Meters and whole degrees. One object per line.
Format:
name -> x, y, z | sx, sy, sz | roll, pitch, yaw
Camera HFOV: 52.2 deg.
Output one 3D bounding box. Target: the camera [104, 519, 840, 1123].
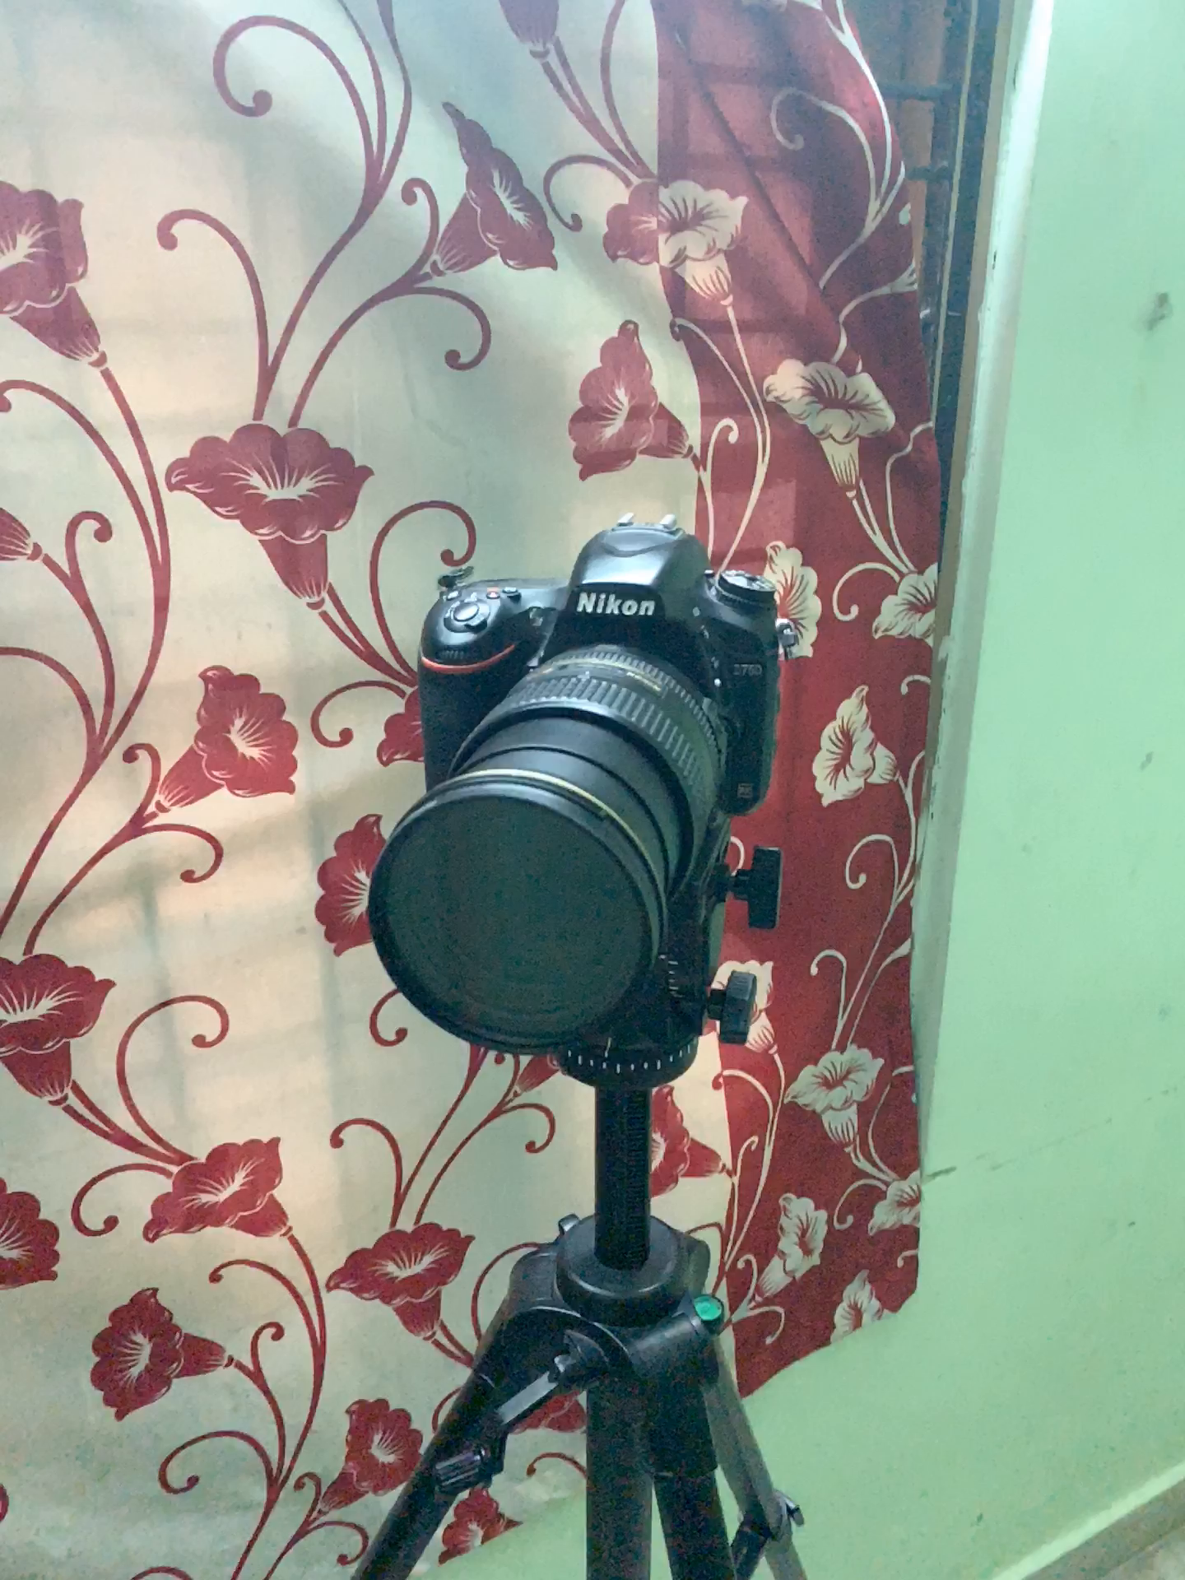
camera -> -0.018, -0.008, 0.375 | 0.172, 0.122, 0.171 | 3, 21, 8
